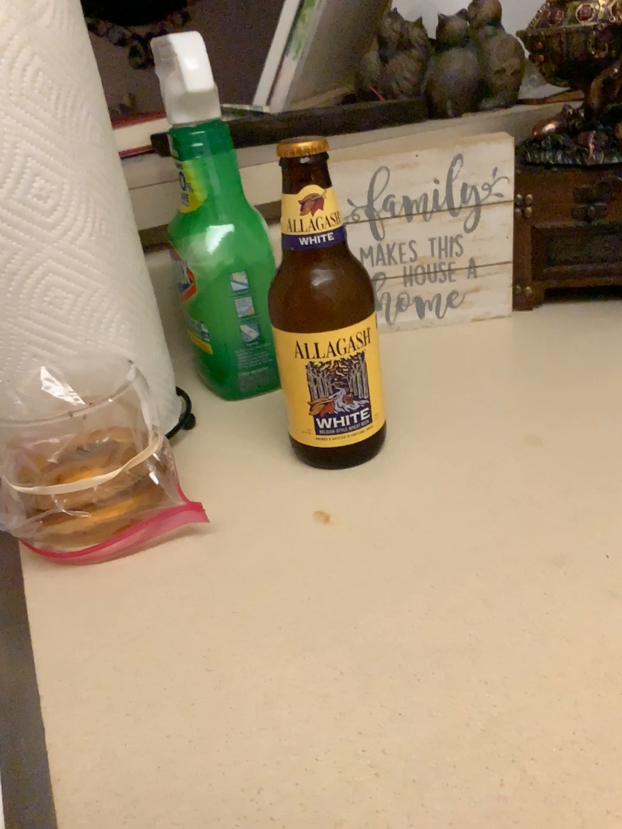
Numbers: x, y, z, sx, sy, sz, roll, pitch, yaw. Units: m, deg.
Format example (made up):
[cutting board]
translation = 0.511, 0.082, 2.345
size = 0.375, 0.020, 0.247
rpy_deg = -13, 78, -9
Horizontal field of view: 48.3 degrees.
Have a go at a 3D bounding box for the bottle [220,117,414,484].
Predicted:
[bottle]
translation = 0.005, -0.067, 0.411
size = 0.080, 0.190, 0.080
rpy_deg = -7, 27, 3
